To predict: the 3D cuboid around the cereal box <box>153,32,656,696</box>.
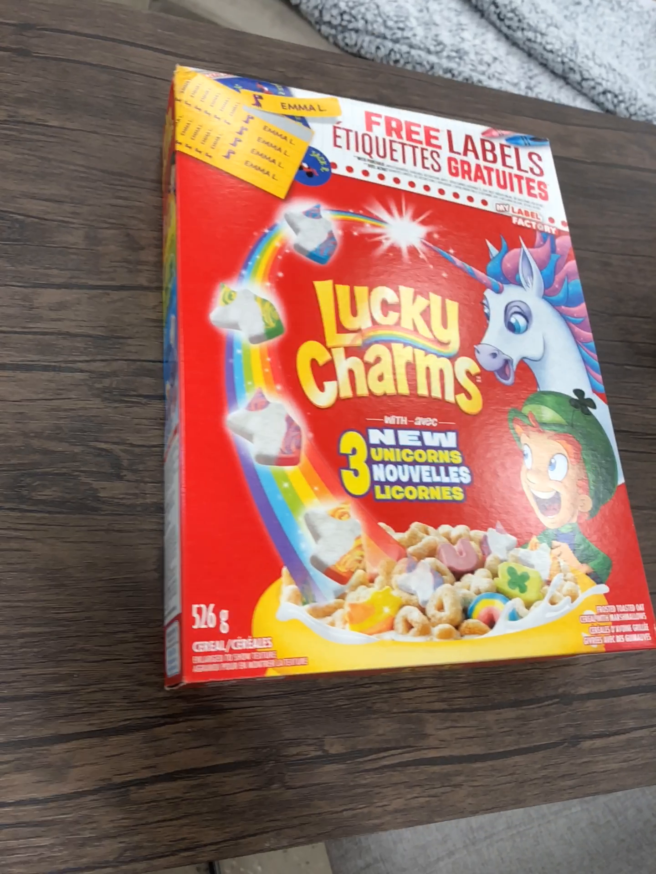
[{"bbox_3d":[0.026,-0.043,0.403,0.230,0.080,0.330,2,69,-19],"label":"cereal box"}]
